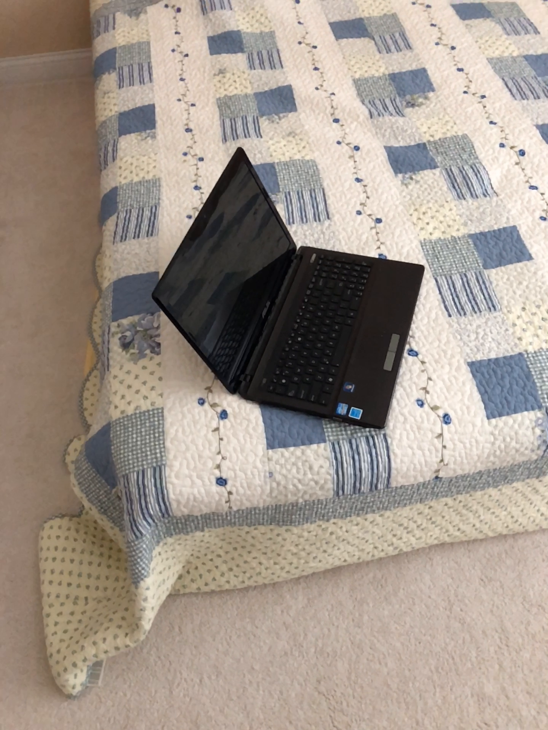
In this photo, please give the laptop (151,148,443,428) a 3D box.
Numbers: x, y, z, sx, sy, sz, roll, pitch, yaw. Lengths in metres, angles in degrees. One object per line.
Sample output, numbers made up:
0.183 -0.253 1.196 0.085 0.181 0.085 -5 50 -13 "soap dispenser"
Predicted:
0.054 -0.139 0.984 0.350 0.193 0.359 13 55 12 "laptop"
